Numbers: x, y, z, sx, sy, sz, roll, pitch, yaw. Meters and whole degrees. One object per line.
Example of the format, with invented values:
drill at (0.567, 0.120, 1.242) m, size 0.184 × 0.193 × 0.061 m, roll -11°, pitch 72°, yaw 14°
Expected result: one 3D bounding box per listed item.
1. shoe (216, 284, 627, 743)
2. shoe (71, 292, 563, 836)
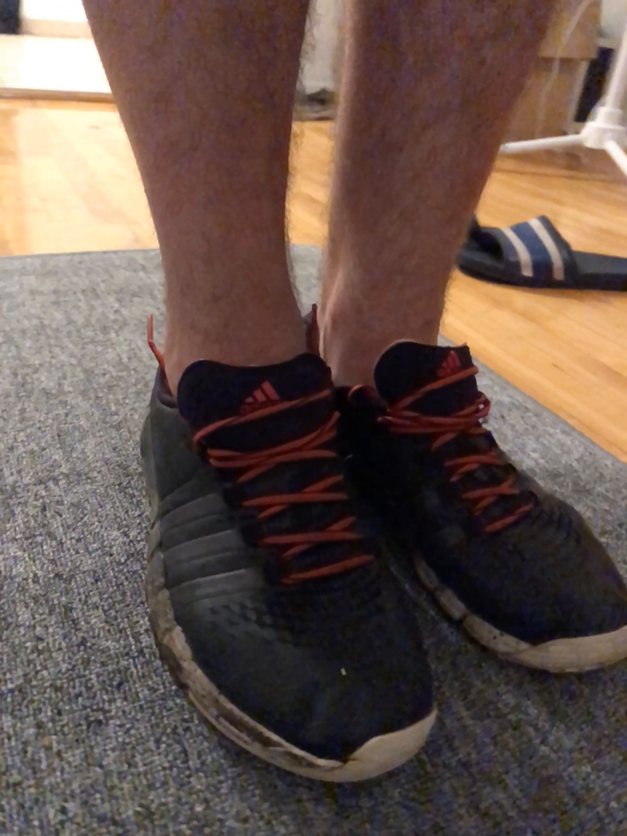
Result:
shoe at (0.075, 0.019, 0.432) m, size 0.130 × 0.089 × 0.322 m, roll -15°, pitch 36°, yaw -33°
shoe at (-0.034, 0.038, 0.366) m, size 0.120 × 0.099 × 0.302 m, roll -10°, pitch 33°, yaw -26°
